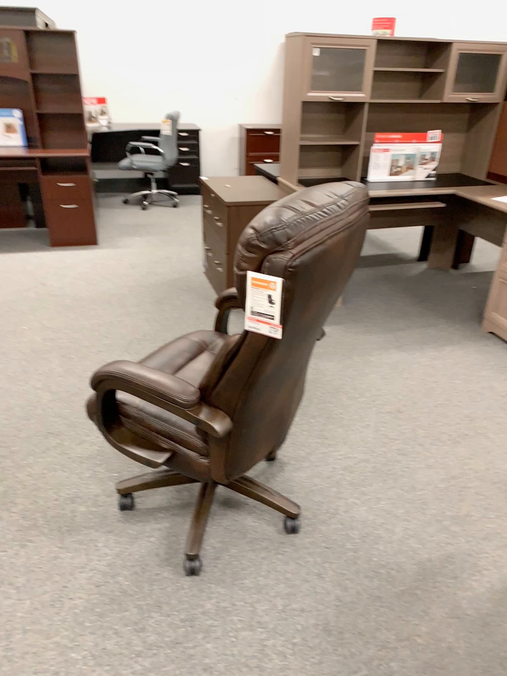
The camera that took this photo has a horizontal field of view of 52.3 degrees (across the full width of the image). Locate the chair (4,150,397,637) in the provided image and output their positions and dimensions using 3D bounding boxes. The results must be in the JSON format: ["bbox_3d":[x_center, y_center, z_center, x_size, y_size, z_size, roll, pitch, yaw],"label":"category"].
[{"bbox_3d":[-0.098,0.082,1.580,0.701,1.094,0.753,16,31,25],"label":"chair"}]
